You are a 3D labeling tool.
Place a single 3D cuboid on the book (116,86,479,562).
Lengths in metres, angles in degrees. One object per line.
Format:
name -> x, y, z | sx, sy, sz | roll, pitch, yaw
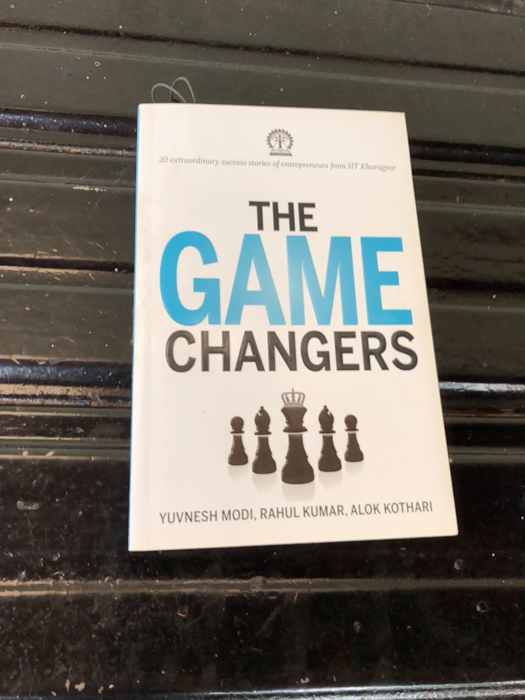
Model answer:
book -> 0.010, -0.016, 0.247 | 0.130, 0.030, 0.190 | 0, 75, -8
